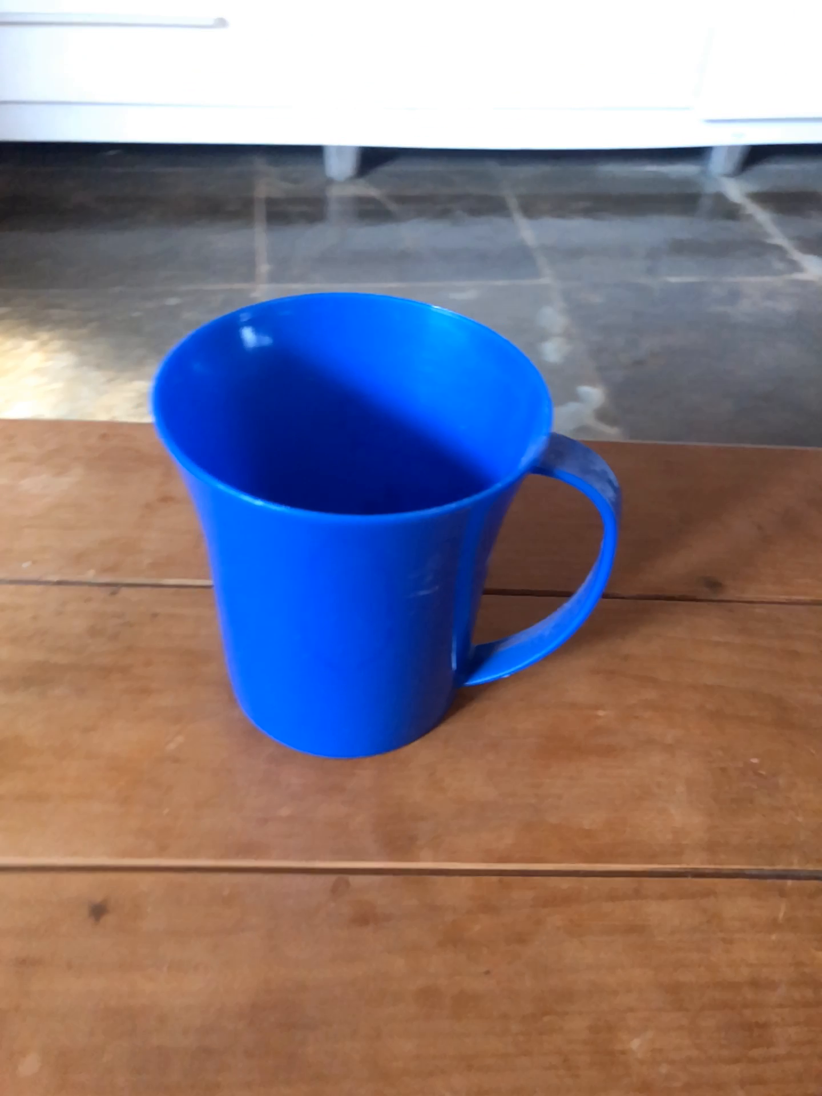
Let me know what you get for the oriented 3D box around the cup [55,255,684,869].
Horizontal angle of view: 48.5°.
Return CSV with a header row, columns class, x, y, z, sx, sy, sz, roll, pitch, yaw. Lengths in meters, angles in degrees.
class,x,y,z,sx,sy,sz,roll,pitch,yaw
cup,-0.003,0.000,0.243,0.120,0.099,0.101,12,44,9
